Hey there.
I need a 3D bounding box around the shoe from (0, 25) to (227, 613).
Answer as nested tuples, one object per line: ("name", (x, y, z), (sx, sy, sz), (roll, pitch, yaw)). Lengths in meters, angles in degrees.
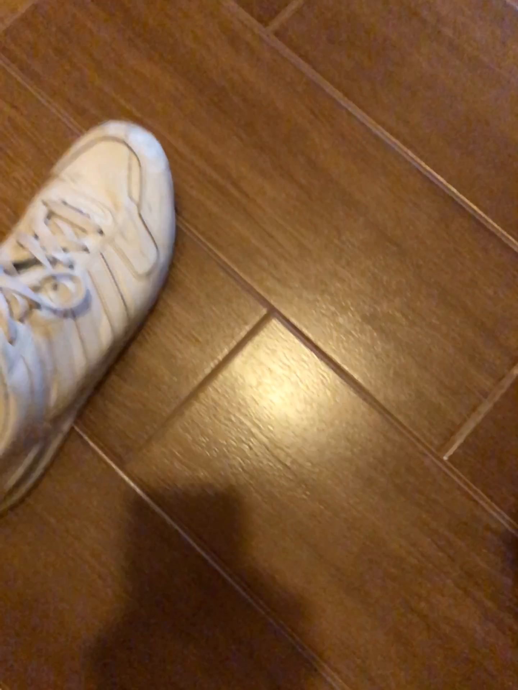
("shoe", (-0.151, -0.019, 0.376), (0.120, 0.120, 0.310), (28, 82, 4))
